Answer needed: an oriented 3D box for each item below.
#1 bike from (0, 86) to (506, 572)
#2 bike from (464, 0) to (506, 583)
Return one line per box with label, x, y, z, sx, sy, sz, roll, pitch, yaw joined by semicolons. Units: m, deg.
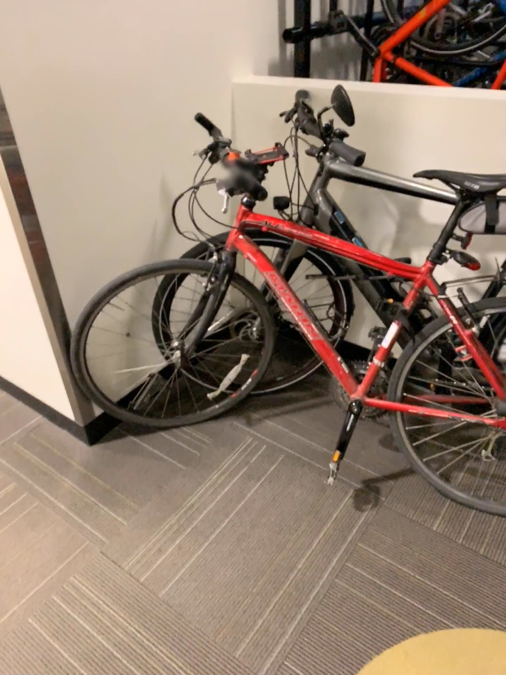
bike;0.275;-0.071;1.466;1.612;0.927;0.606;9;36;10
bike;1.036;-0.103;1.430;0.726;1.148;0.696;11;36;11
